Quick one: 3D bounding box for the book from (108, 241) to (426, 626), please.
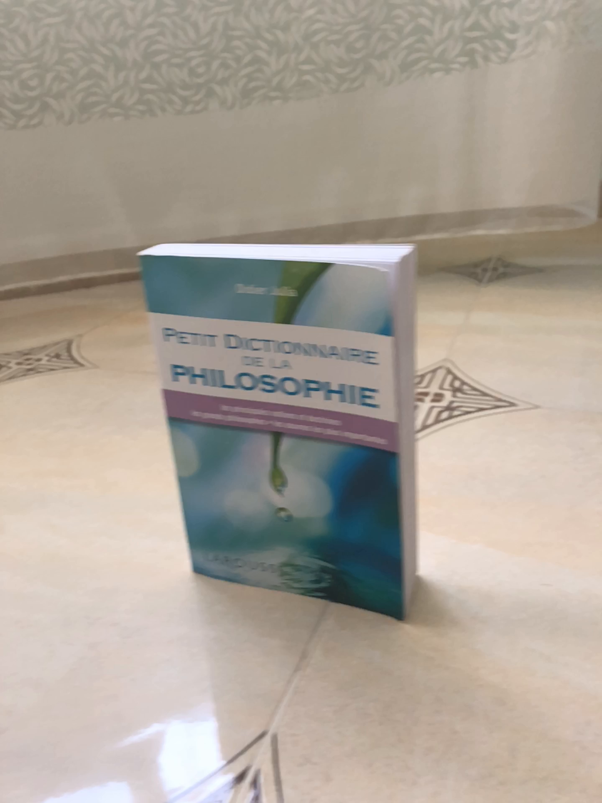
[{"bbox_3d":[-0.010,0.016,0.338,0.140,0.185,0.035,6,28,22],"label":"book"}]
